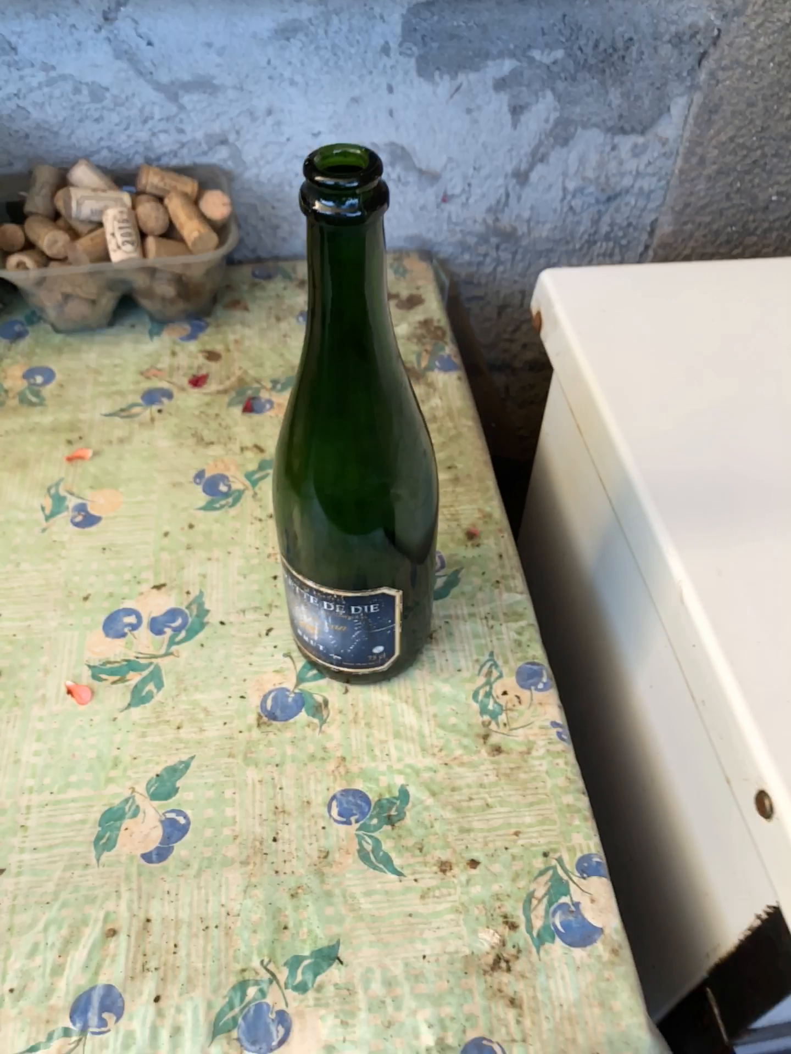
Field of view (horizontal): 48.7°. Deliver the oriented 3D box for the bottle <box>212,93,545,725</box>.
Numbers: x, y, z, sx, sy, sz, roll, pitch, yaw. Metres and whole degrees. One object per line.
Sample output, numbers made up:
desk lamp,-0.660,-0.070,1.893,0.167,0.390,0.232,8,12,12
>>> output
bottle,-0.011,-0.030,0.433,0.090,0.308,0.080,38,58,26
